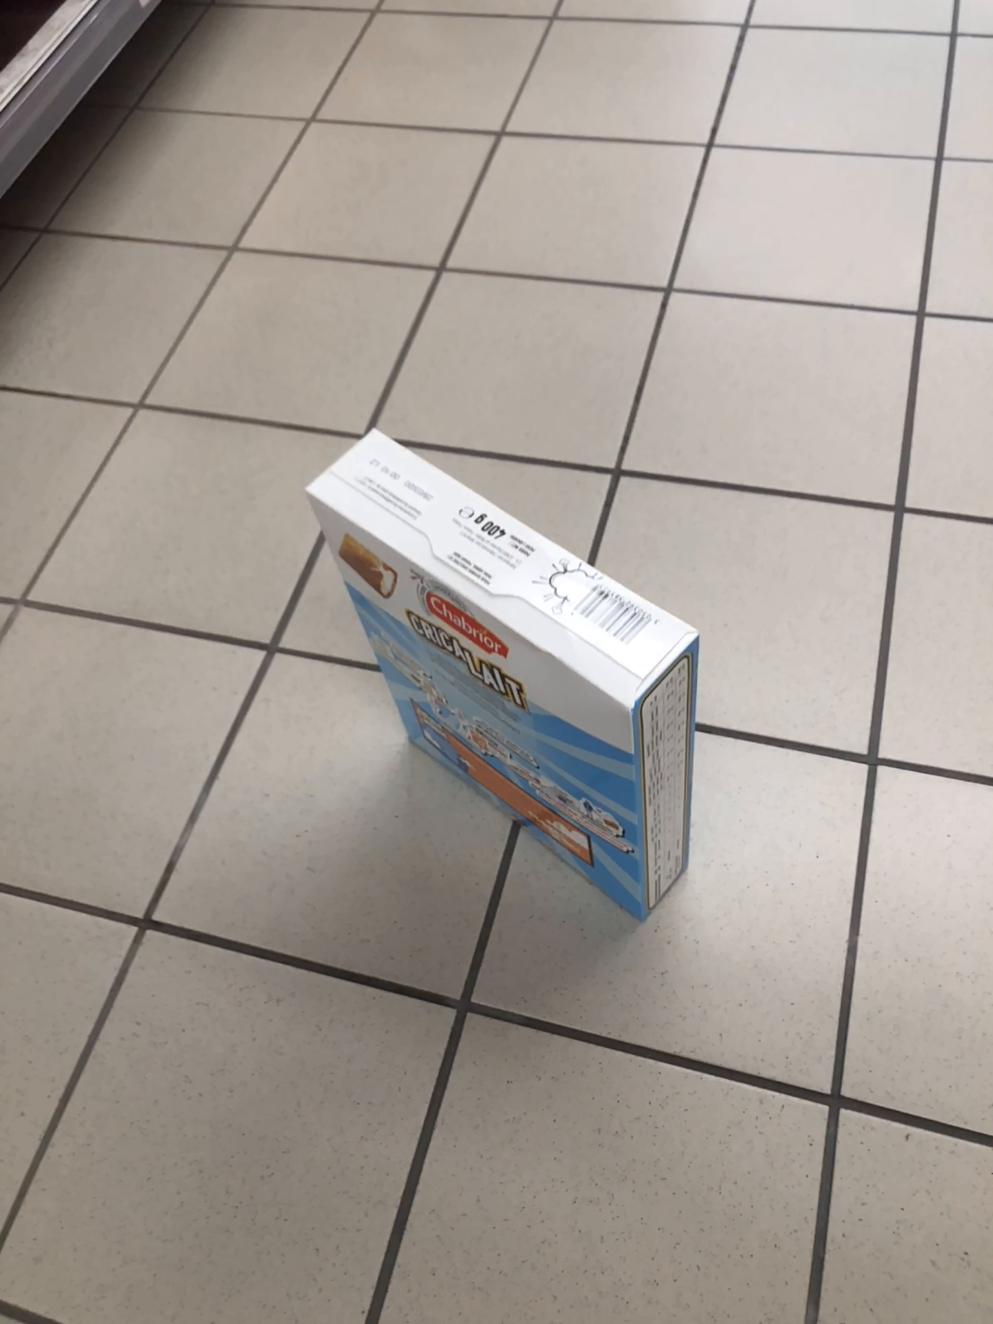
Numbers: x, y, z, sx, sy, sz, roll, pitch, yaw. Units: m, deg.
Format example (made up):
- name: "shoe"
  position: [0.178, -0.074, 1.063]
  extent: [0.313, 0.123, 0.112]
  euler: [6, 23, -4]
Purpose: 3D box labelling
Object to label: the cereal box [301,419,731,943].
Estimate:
- name: "cereal box"
  position: [0.015, 0.022, 0.566]
  extent: [0.200, 0.249, 0.050]
  euler: [36, 68, 26]
